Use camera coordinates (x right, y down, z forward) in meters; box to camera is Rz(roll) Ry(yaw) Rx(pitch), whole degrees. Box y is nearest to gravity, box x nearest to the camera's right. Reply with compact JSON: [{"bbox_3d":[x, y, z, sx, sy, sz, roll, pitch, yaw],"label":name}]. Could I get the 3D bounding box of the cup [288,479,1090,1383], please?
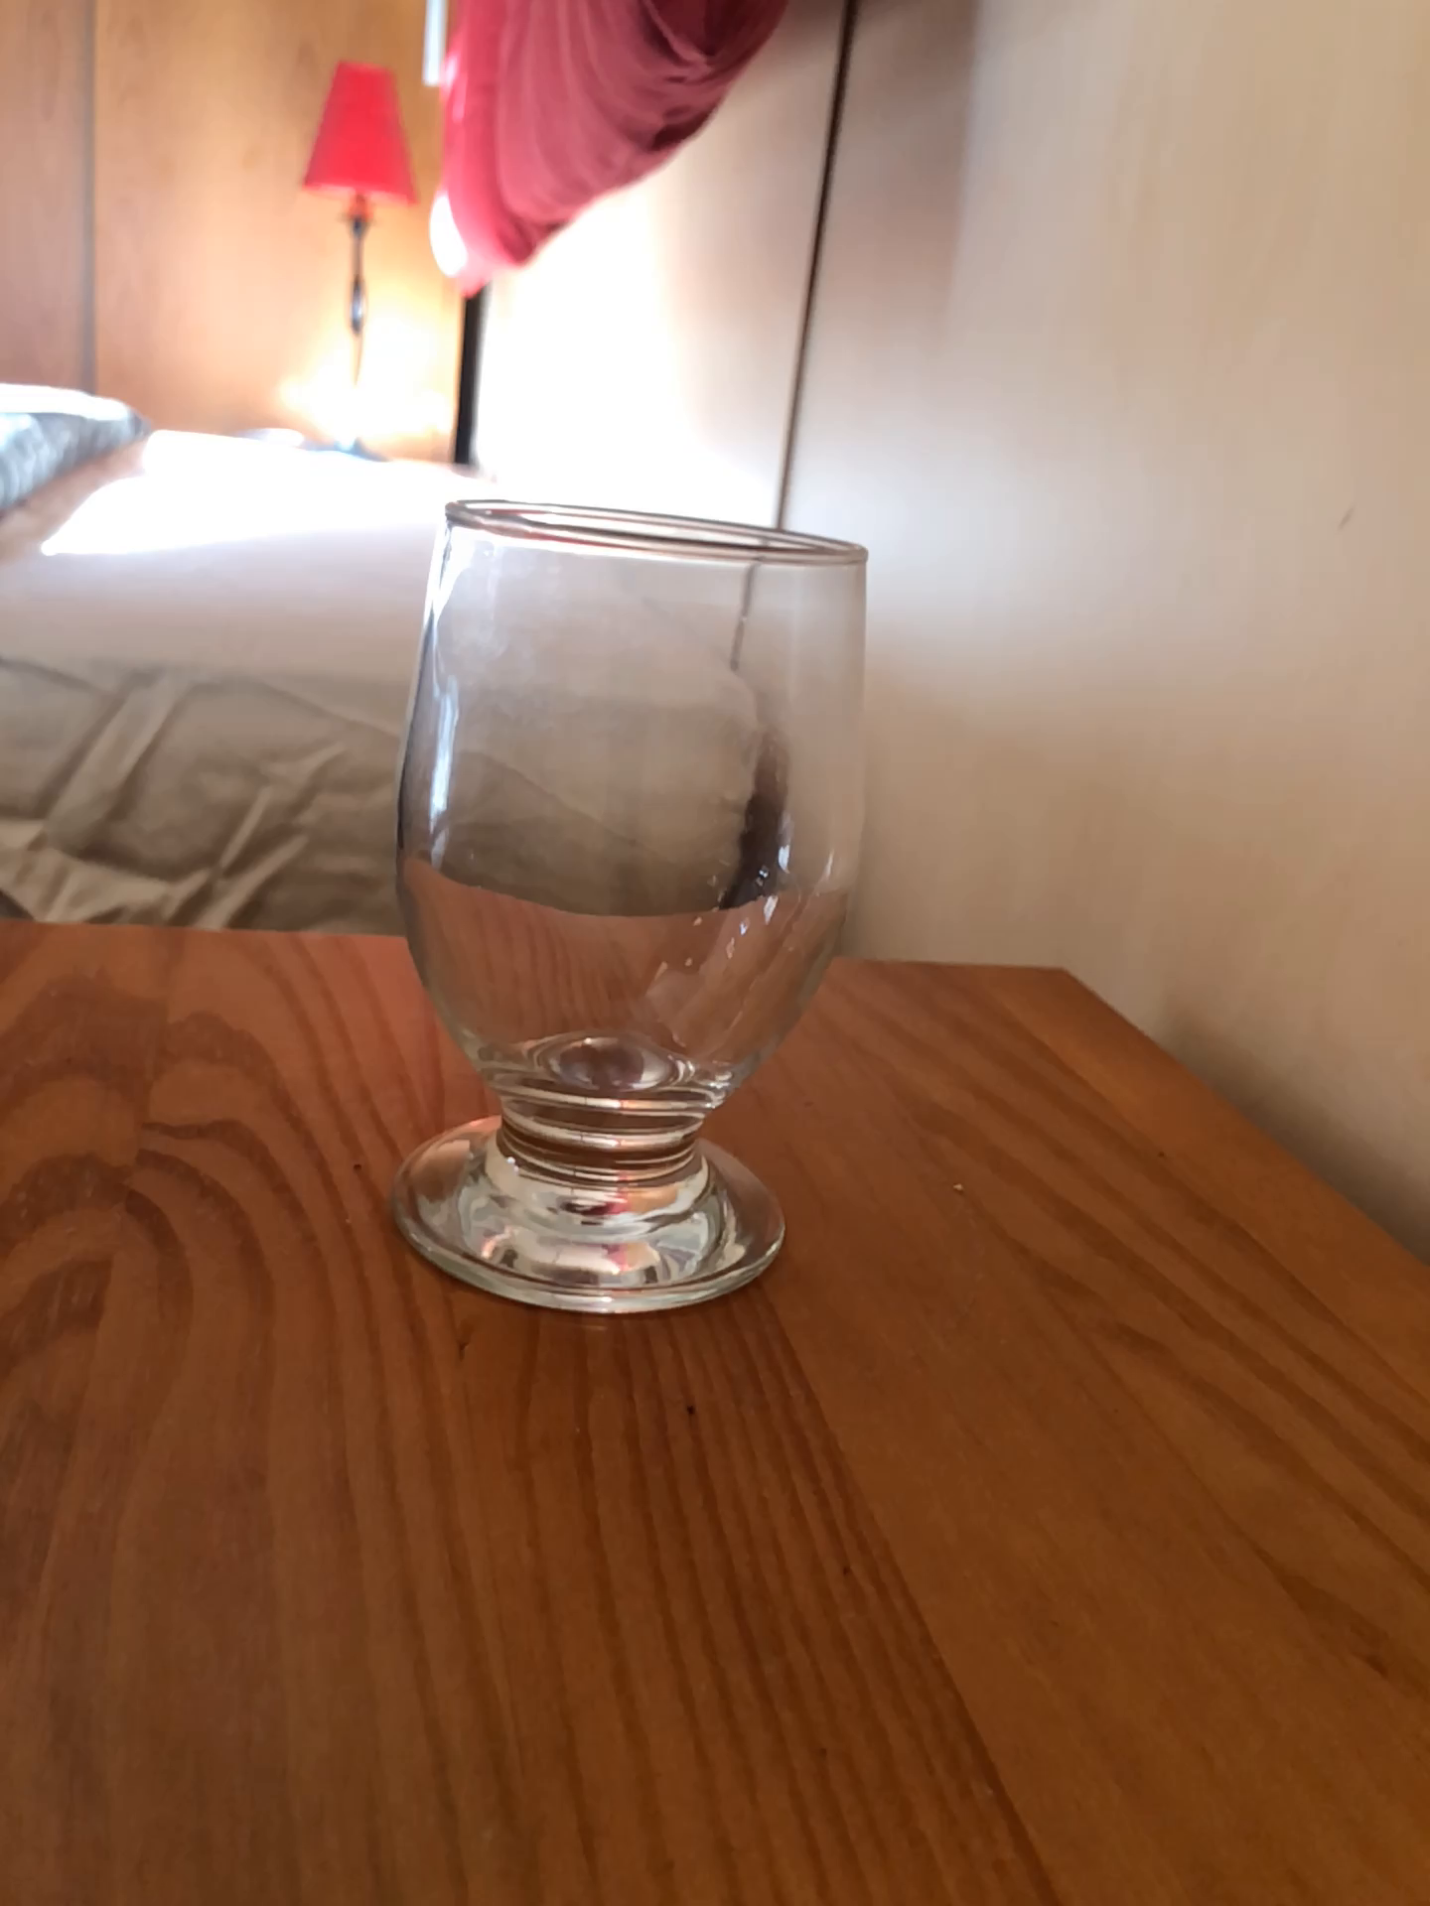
[{"bbox_3d":[-0.009,-0.010,0.247,0.082,0.107,0.078,7,18,-2],"label":"cup"}]
